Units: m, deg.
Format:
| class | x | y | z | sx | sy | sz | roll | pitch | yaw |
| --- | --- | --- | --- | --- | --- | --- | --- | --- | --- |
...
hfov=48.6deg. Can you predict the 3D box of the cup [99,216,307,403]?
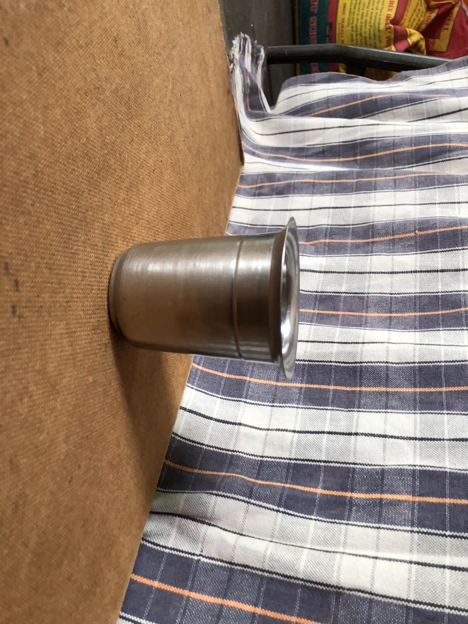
| class | x | y | z | sx | sy | sz | roll | pitch | yaw |
| --- | --- | --- | --- | --- | --- | --- | --- | --- | --- |
| cup | -0.008 | -0.006 | 0.249 | 0.070 | 0.080 | 0.070 | 1 | 90 | -78 |
